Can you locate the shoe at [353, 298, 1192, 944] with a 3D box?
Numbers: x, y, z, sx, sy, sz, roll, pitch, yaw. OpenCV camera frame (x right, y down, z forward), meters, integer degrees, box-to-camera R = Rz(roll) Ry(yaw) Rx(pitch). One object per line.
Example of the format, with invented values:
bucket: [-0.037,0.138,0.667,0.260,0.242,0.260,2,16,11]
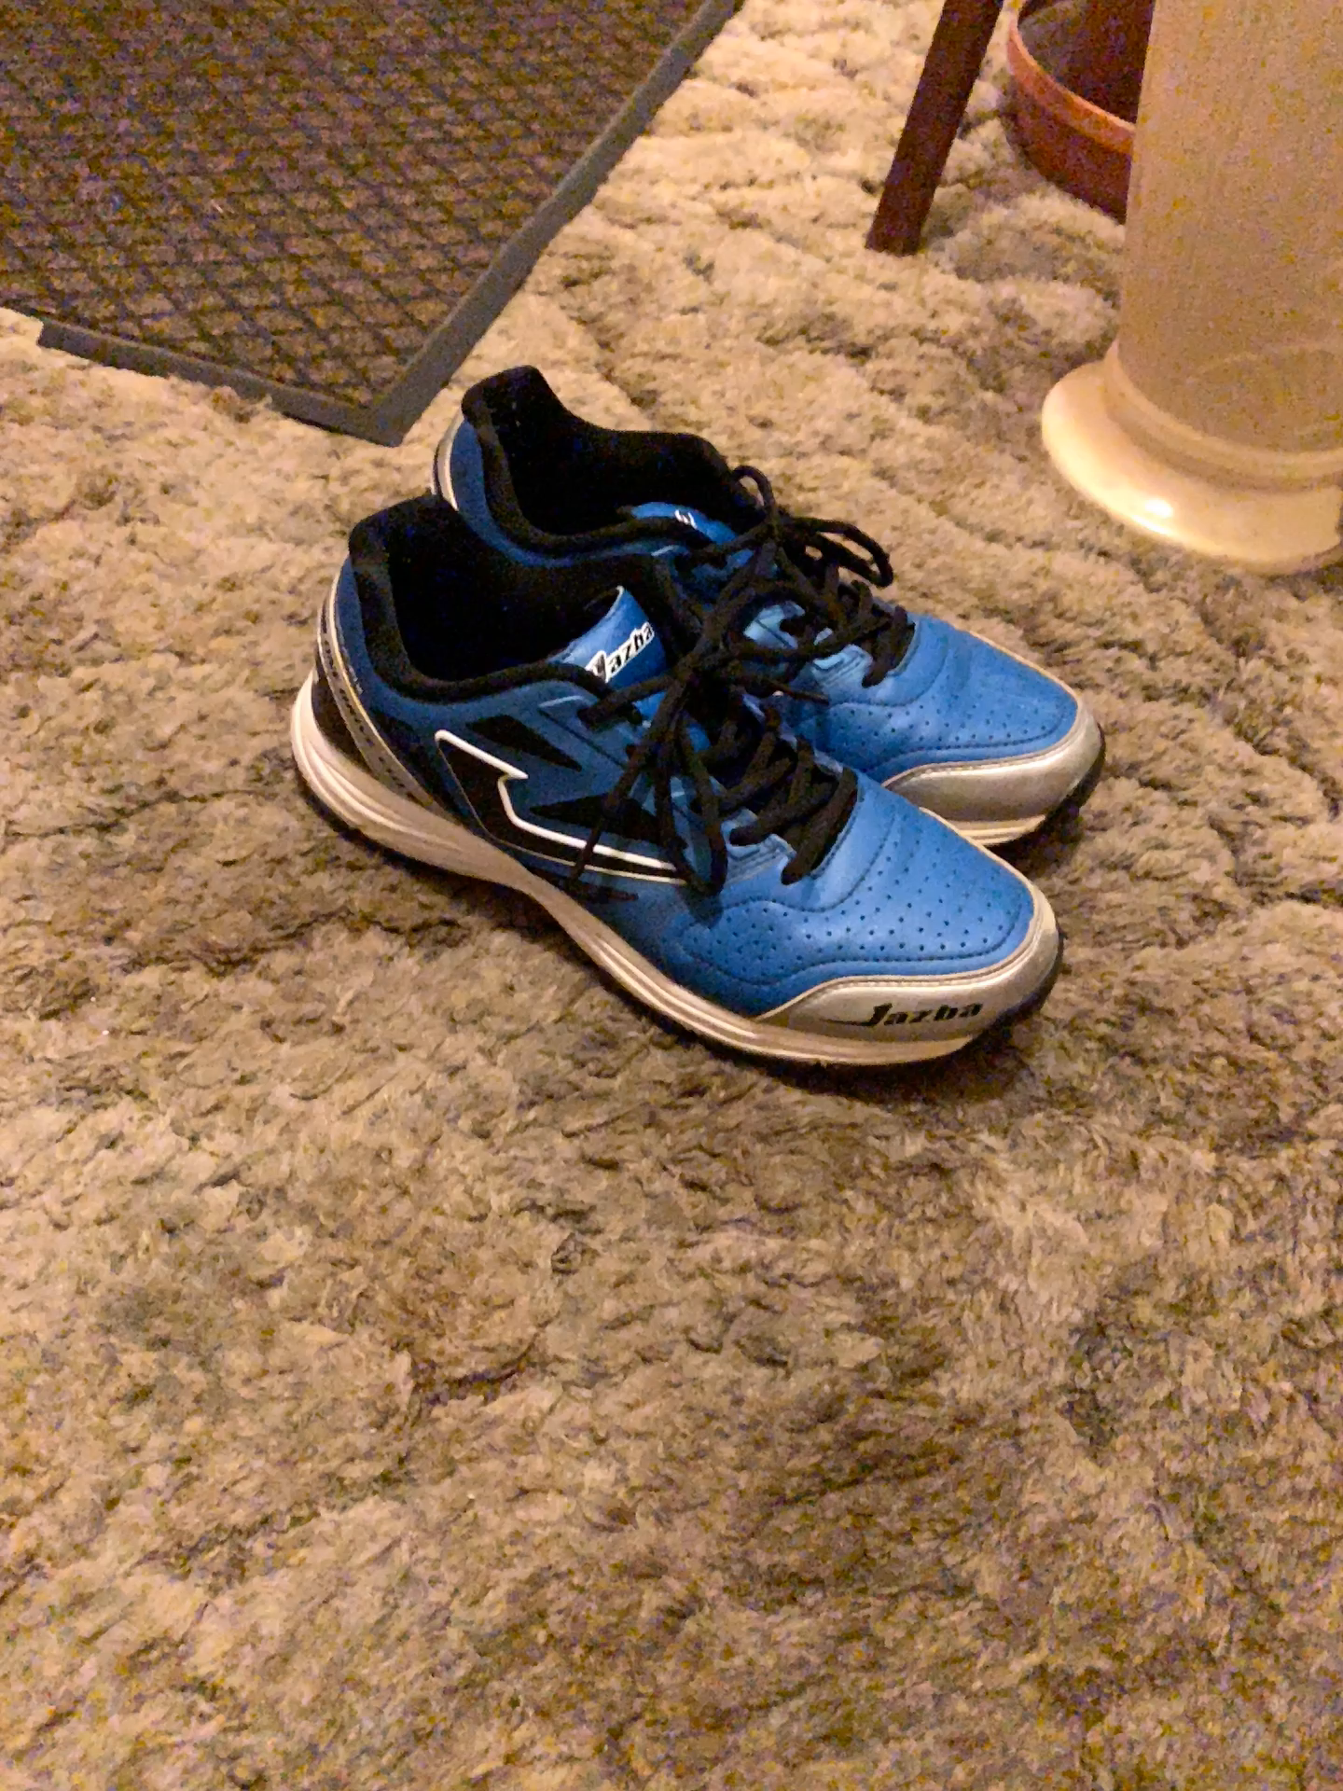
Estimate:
shoe: [0.030,-0.104,0.514,0.270,0.119,0.101,22,52,10]

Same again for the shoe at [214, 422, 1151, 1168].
shoe: [-0.004,-0.039,0.476,0.280,0.119,0.101,26,52,13]
